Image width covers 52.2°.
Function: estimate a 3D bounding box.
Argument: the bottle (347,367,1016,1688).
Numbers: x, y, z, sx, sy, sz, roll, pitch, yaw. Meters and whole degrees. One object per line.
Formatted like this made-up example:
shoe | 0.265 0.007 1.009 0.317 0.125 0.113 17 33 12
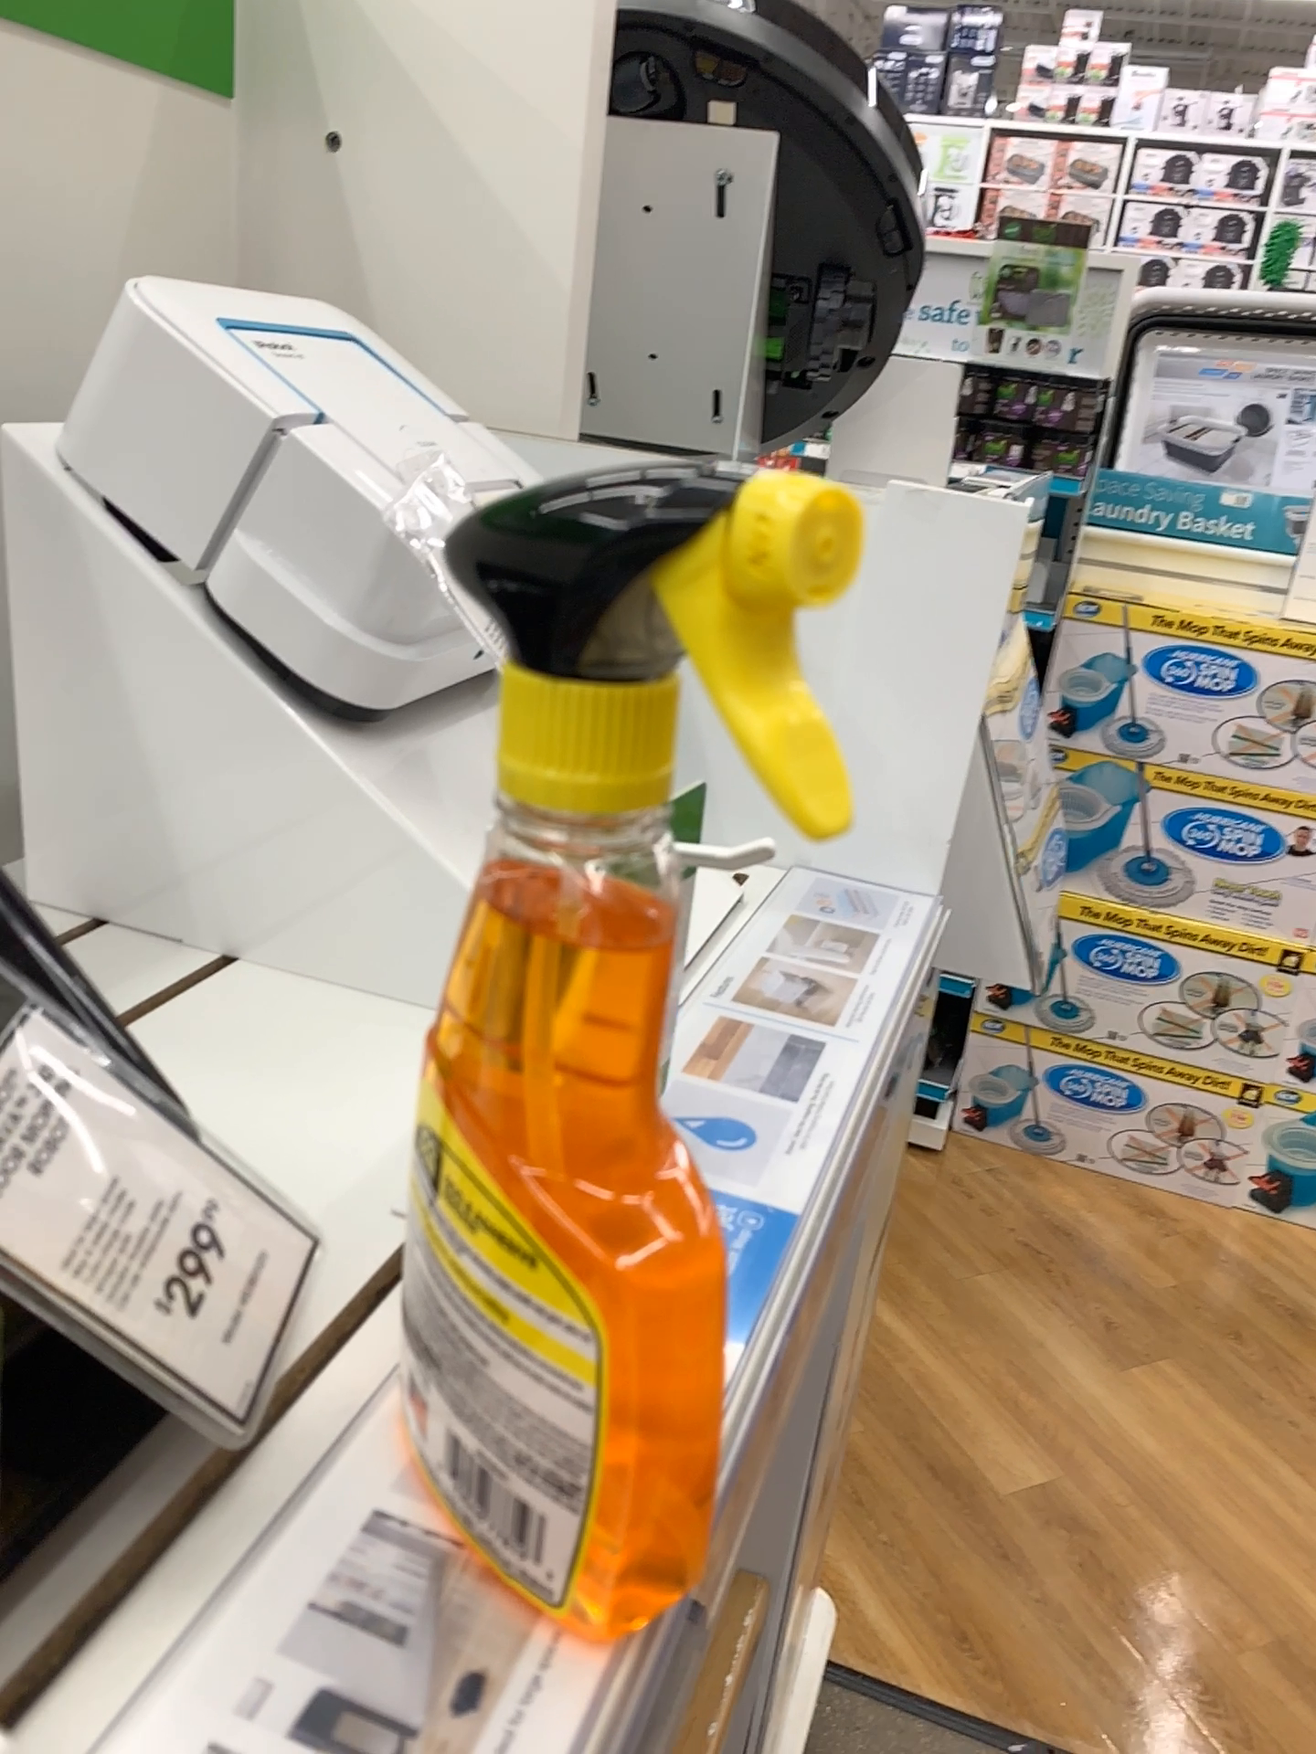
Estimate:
bottle | -0.009 0.026 0.264 0.050 0.226 0.100 -10 26 -40
